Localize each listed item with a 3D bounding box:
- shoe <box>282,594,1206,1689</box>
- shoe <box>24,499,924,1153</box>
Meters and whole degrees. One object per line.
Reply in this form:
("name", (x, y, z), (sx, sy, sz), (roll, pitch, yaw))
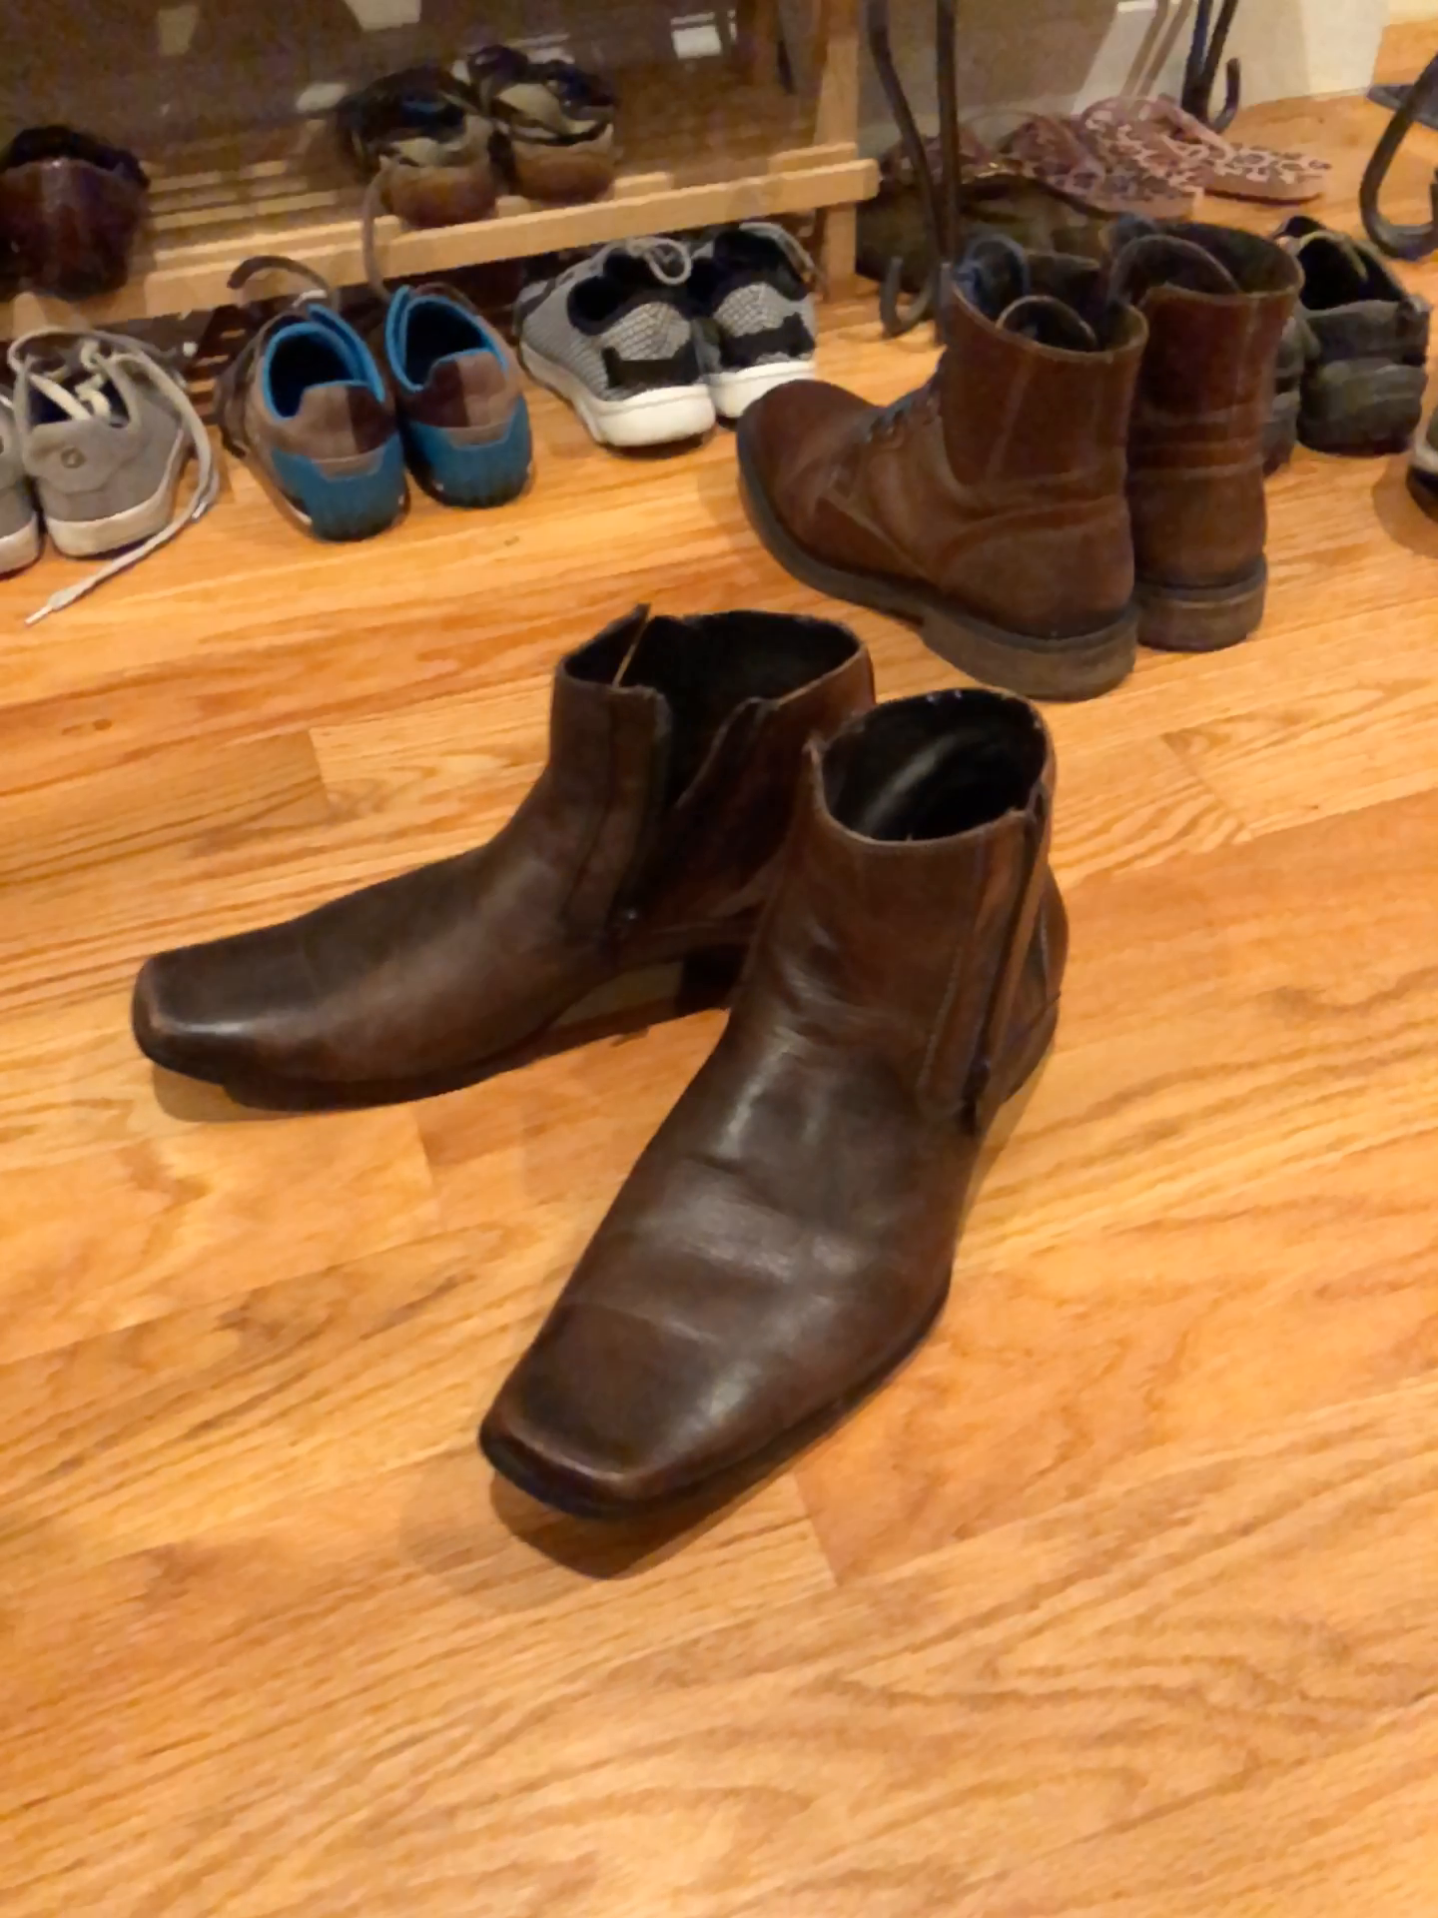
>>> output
("shoe", (0.029, 0.036, 0.493), (0.109, 0.152, 0.301), (23, 49, 26))
("shoe", (-0.083, -0.053, 0.589), (0.290, 0.142, 0.110), (-15, 44, -12))
